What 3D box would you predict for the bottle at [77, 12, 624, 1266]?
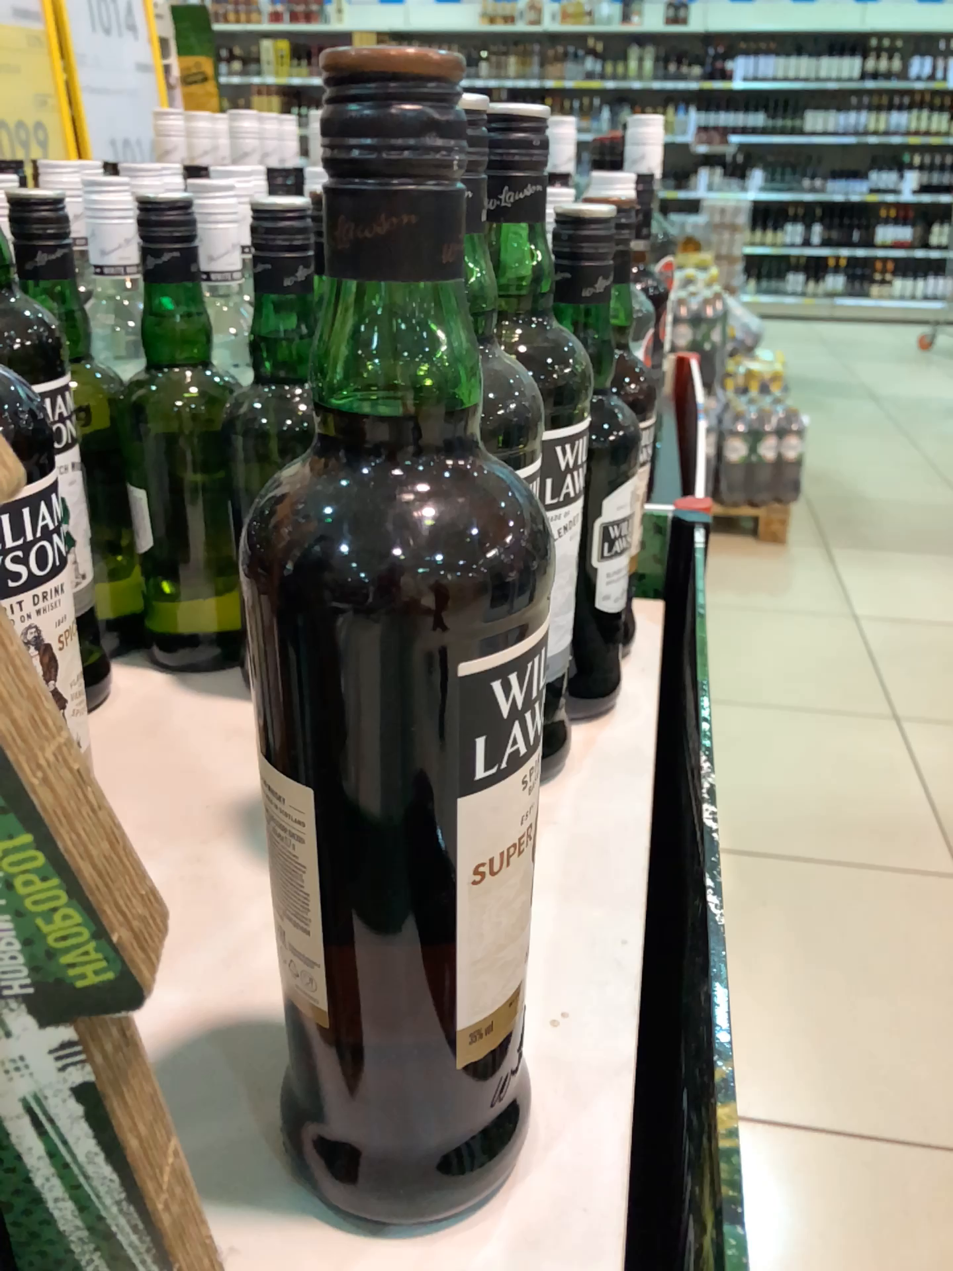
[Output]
[{"bbox_3d":[-0.022,0.019,0.268,0.090,0.298,0.081,2,23,2],"label":"bottle"}]
